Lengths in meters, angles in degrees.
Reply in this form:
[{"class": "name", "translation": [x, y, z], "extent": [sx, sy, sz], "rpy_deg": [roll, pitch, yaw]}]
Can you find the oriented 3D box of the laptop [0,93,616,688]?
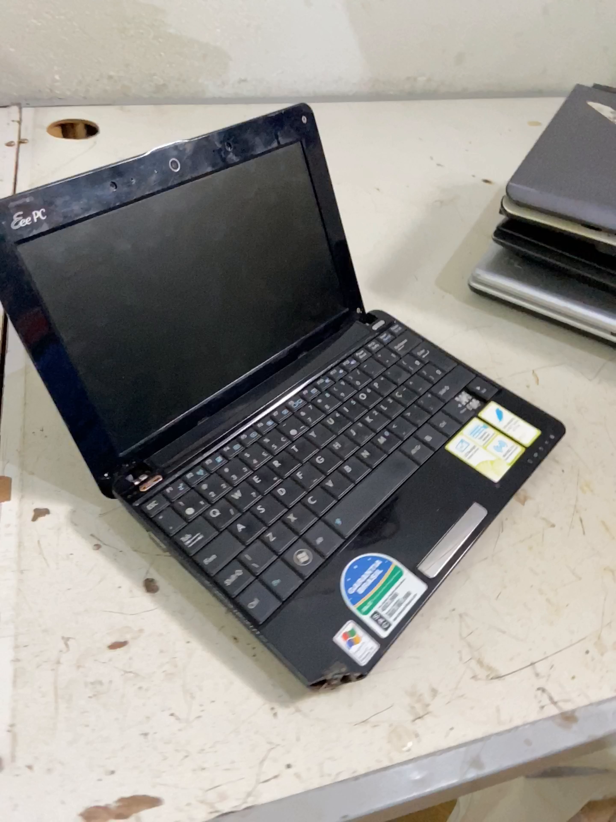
[{"class": "laptop", "translation": [0.000, -0.048, 0.383], "extent": [0.265, 0.131, 0.259], "rpy_deg": [37, 53, 23]}]
